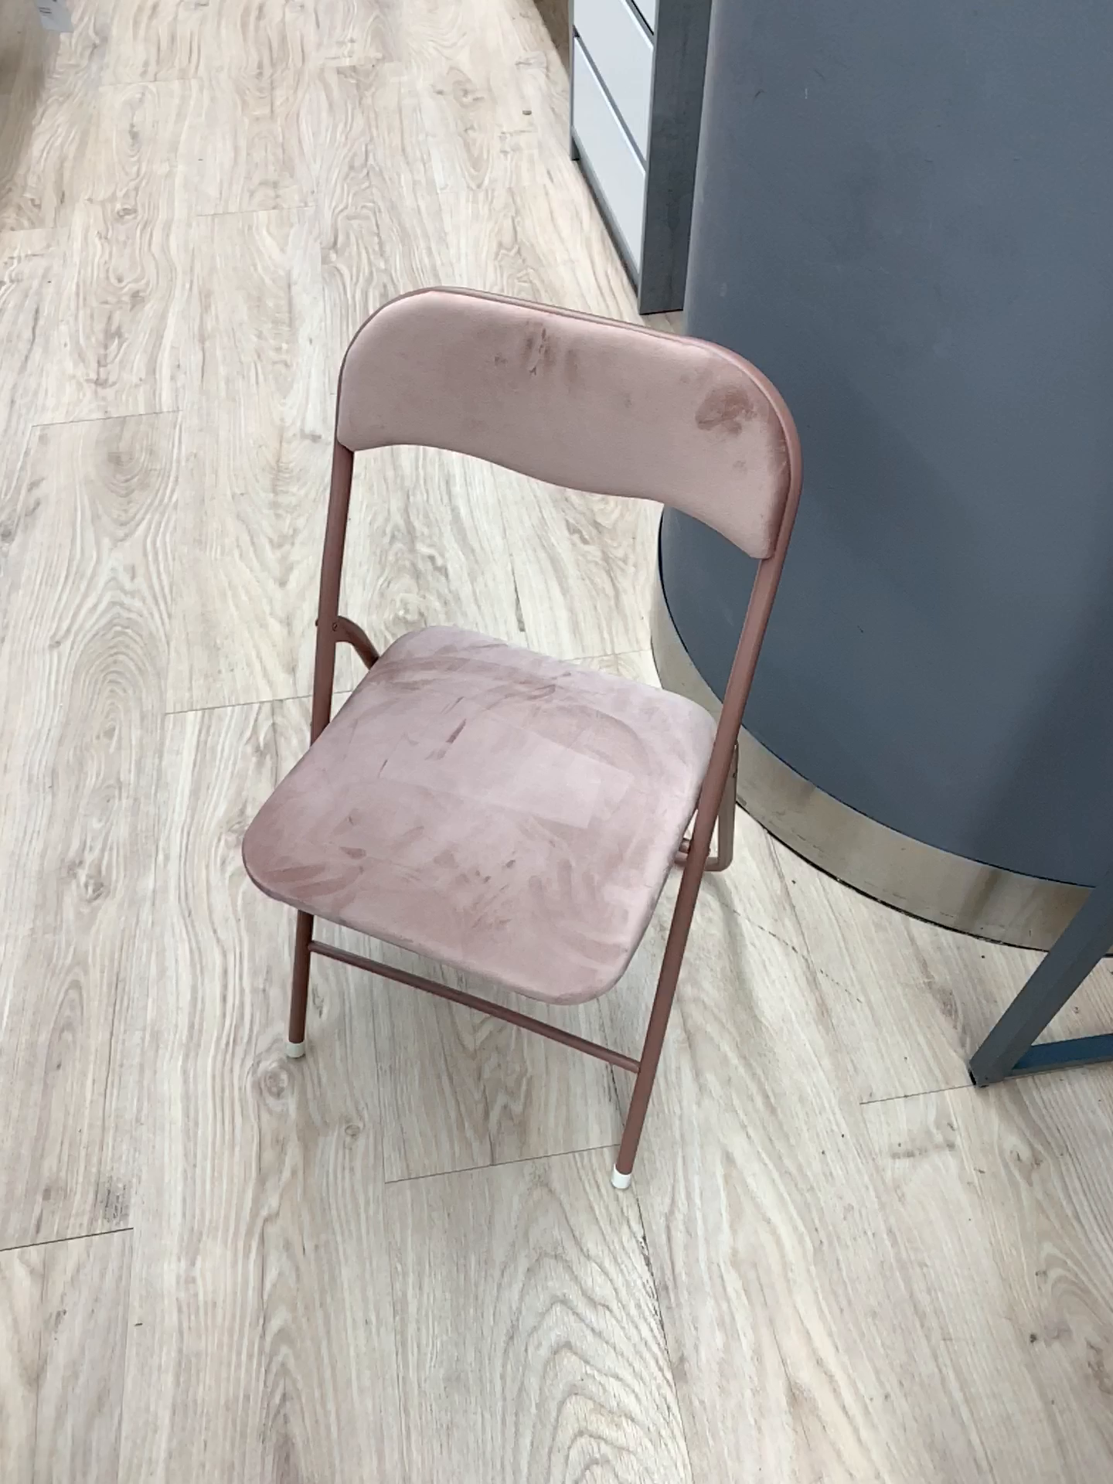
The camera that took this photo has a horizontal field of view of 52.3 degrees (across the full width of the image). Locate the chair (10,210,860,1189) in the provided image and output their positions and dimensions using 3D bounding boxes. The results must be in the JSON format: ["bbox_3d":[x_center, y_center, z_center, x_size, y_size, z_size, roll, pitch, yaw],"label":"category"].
[{"bbox_3d":[-0.052,0.013,1.132,0.460,0.797,0.481,15,54,12],"label":"chair"}]
